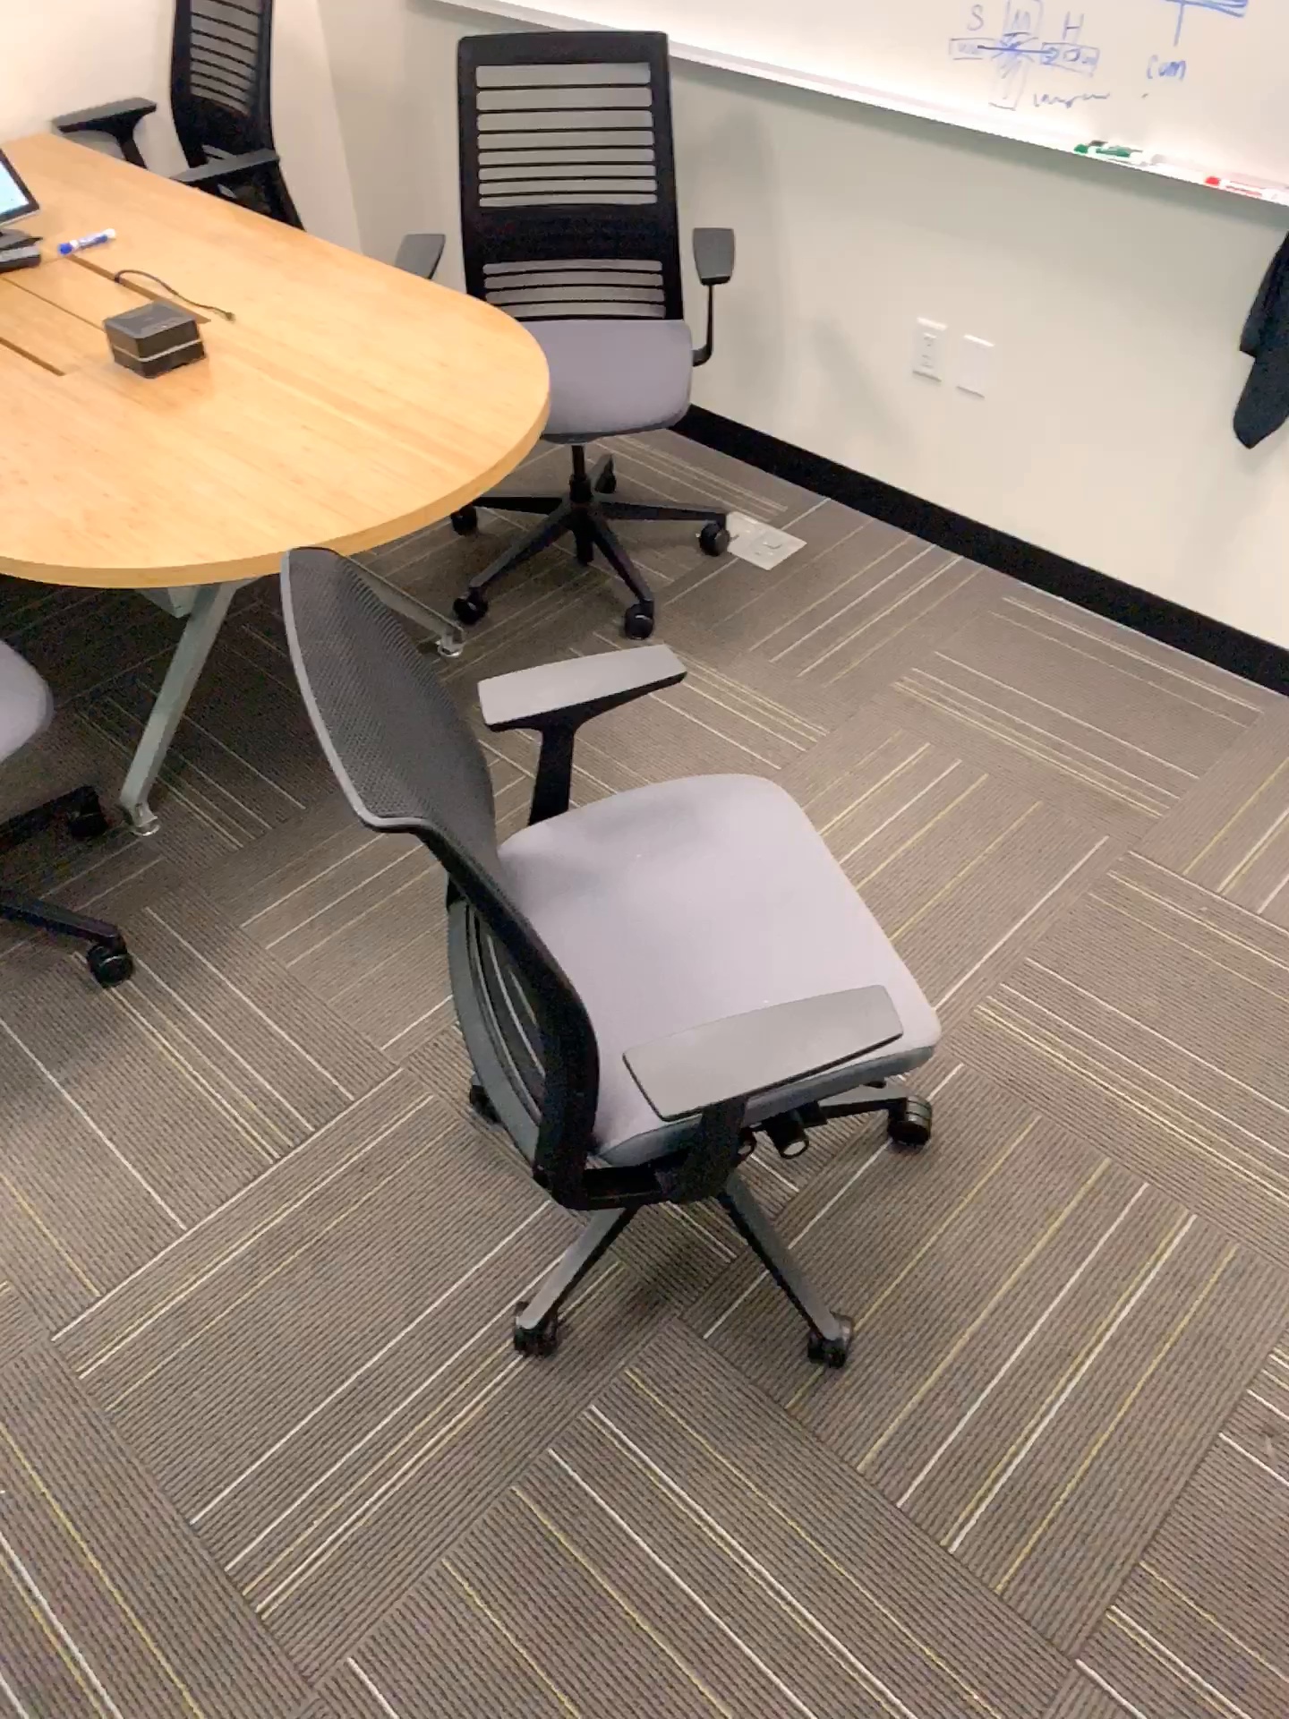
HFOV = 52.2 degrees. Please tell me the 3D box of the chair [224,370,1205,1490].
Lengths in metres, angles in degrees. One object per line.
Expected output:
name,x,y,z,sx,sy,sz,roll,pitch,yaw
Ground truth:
chair,0.019,0.109,1.521,0.690,0.994,0.654,-14,46,-11
